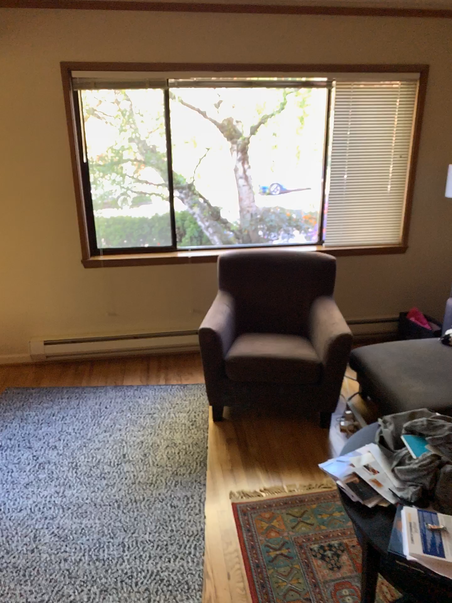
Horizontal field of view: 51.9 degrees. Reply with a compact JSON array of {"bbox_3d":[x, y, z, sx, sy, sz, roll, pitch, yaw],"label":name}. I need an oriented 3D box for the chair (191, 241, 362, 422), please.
[{"bbox_3d":[0.293,0.130,2.917,0.880,0.876,0.803,1,17,5],"label":"chair"}]
